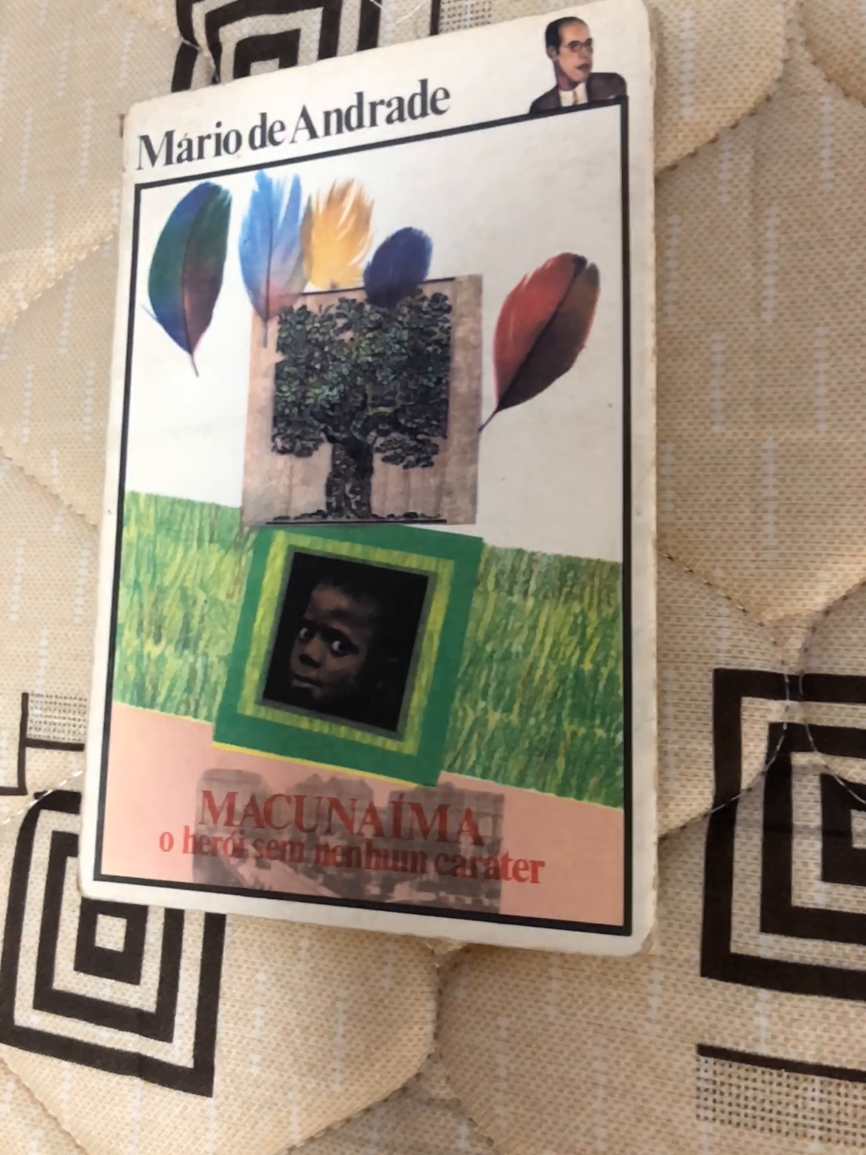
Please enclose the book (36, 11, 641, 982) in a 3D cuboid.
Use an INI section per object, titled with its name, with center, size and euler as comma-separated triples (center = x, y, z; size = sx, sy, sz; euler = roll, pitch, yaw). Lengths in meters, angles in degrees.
[book]
center = -0.021, -0.019, 0.217
size = 0.130, 0.020, 0.190
euler = 0, 83, 19
